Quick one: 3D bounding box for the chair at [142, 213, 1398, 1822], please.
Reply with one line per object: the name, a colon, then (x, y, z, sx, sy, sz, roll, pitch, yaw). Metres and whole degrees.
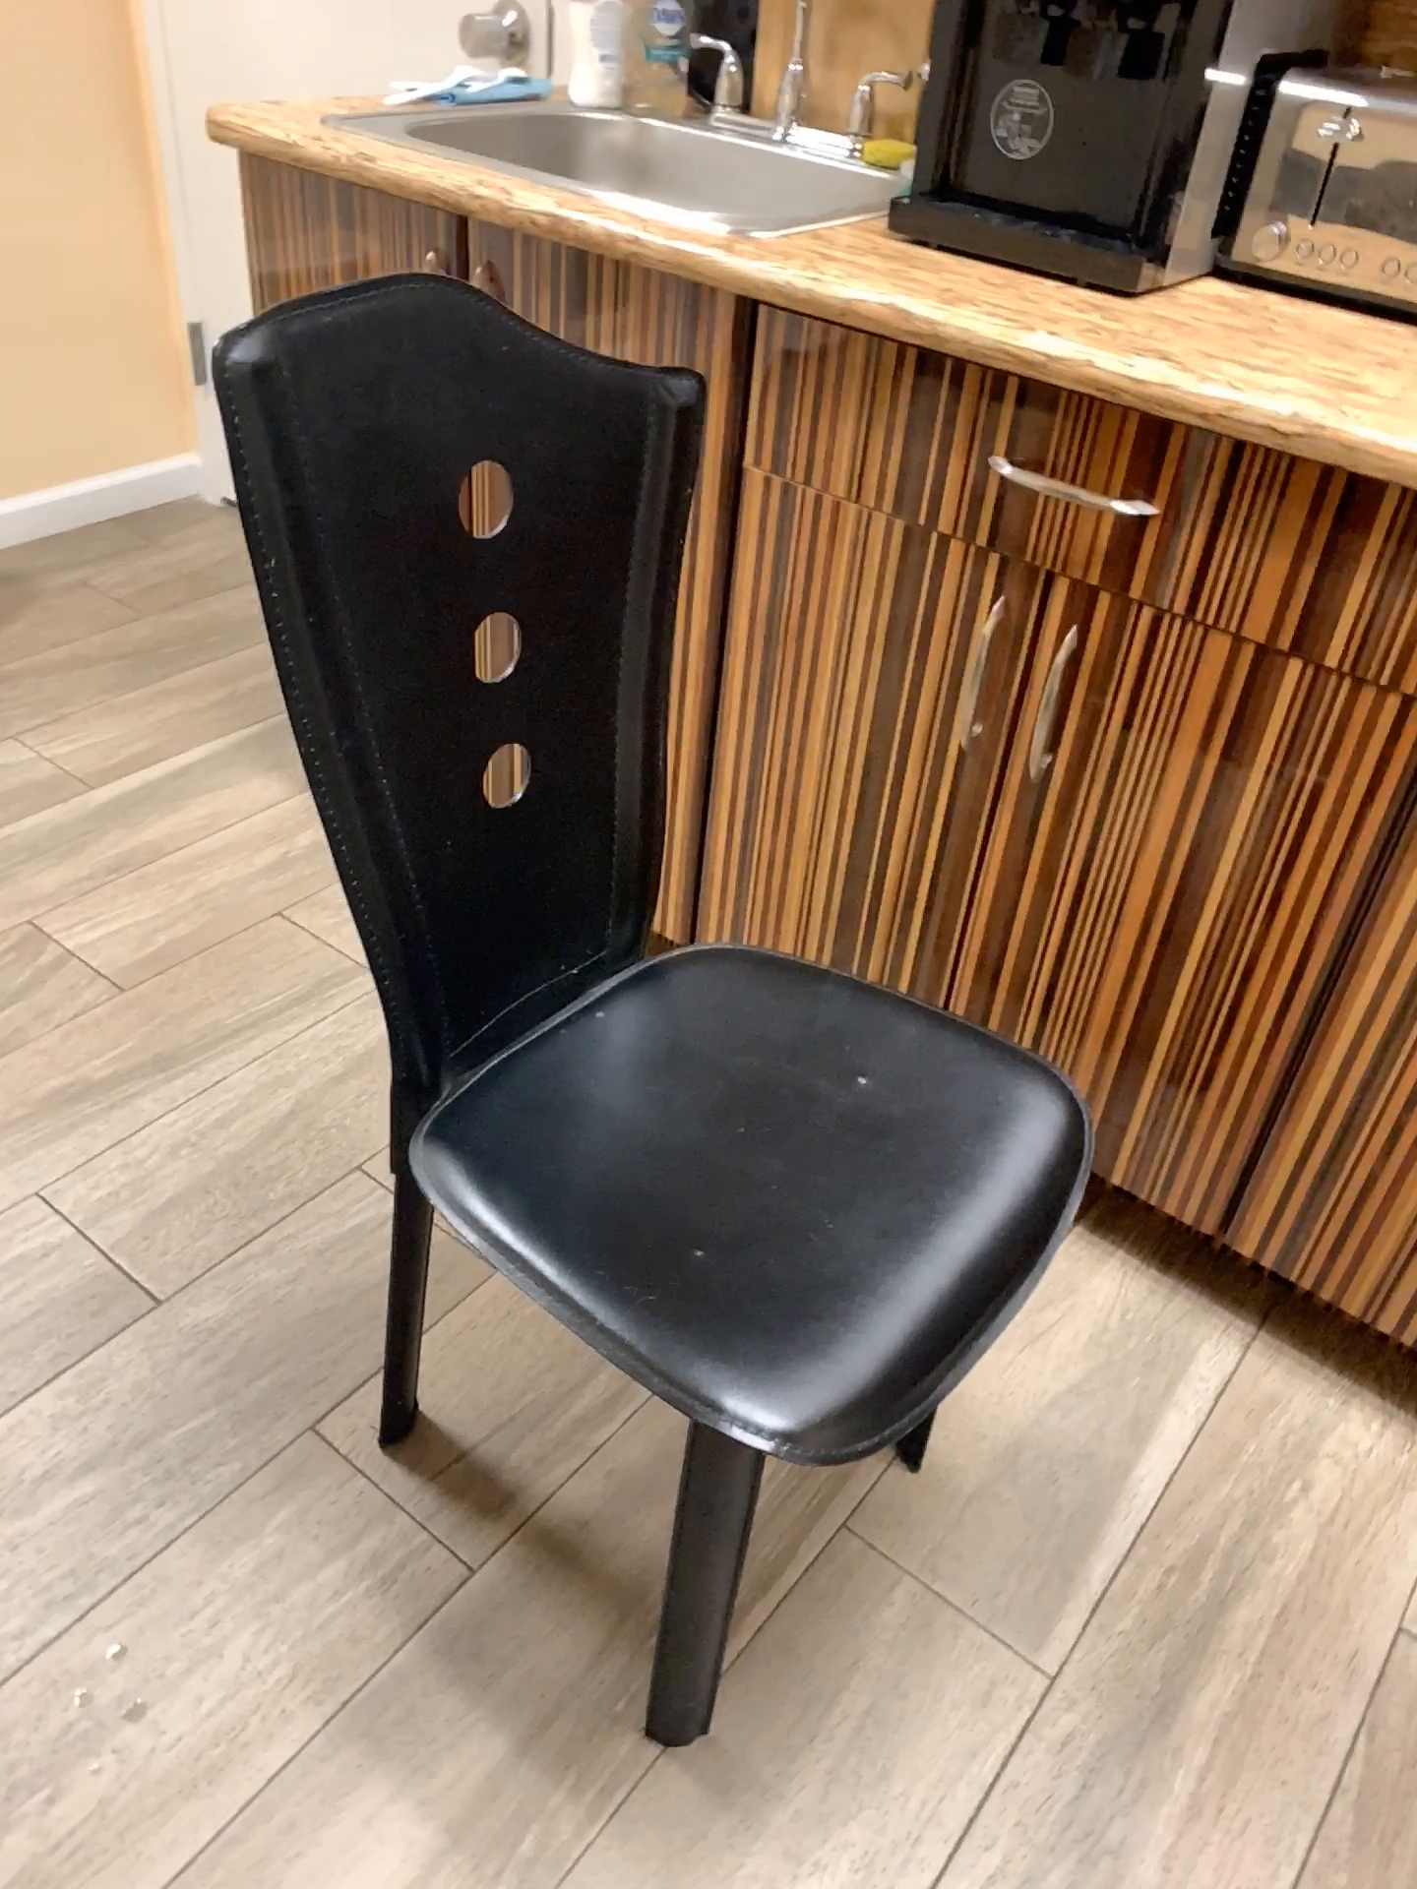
chair: (0.010, 0.066, 1.030, 0.474, 0.941, 0.463, 29, 43, 27)
